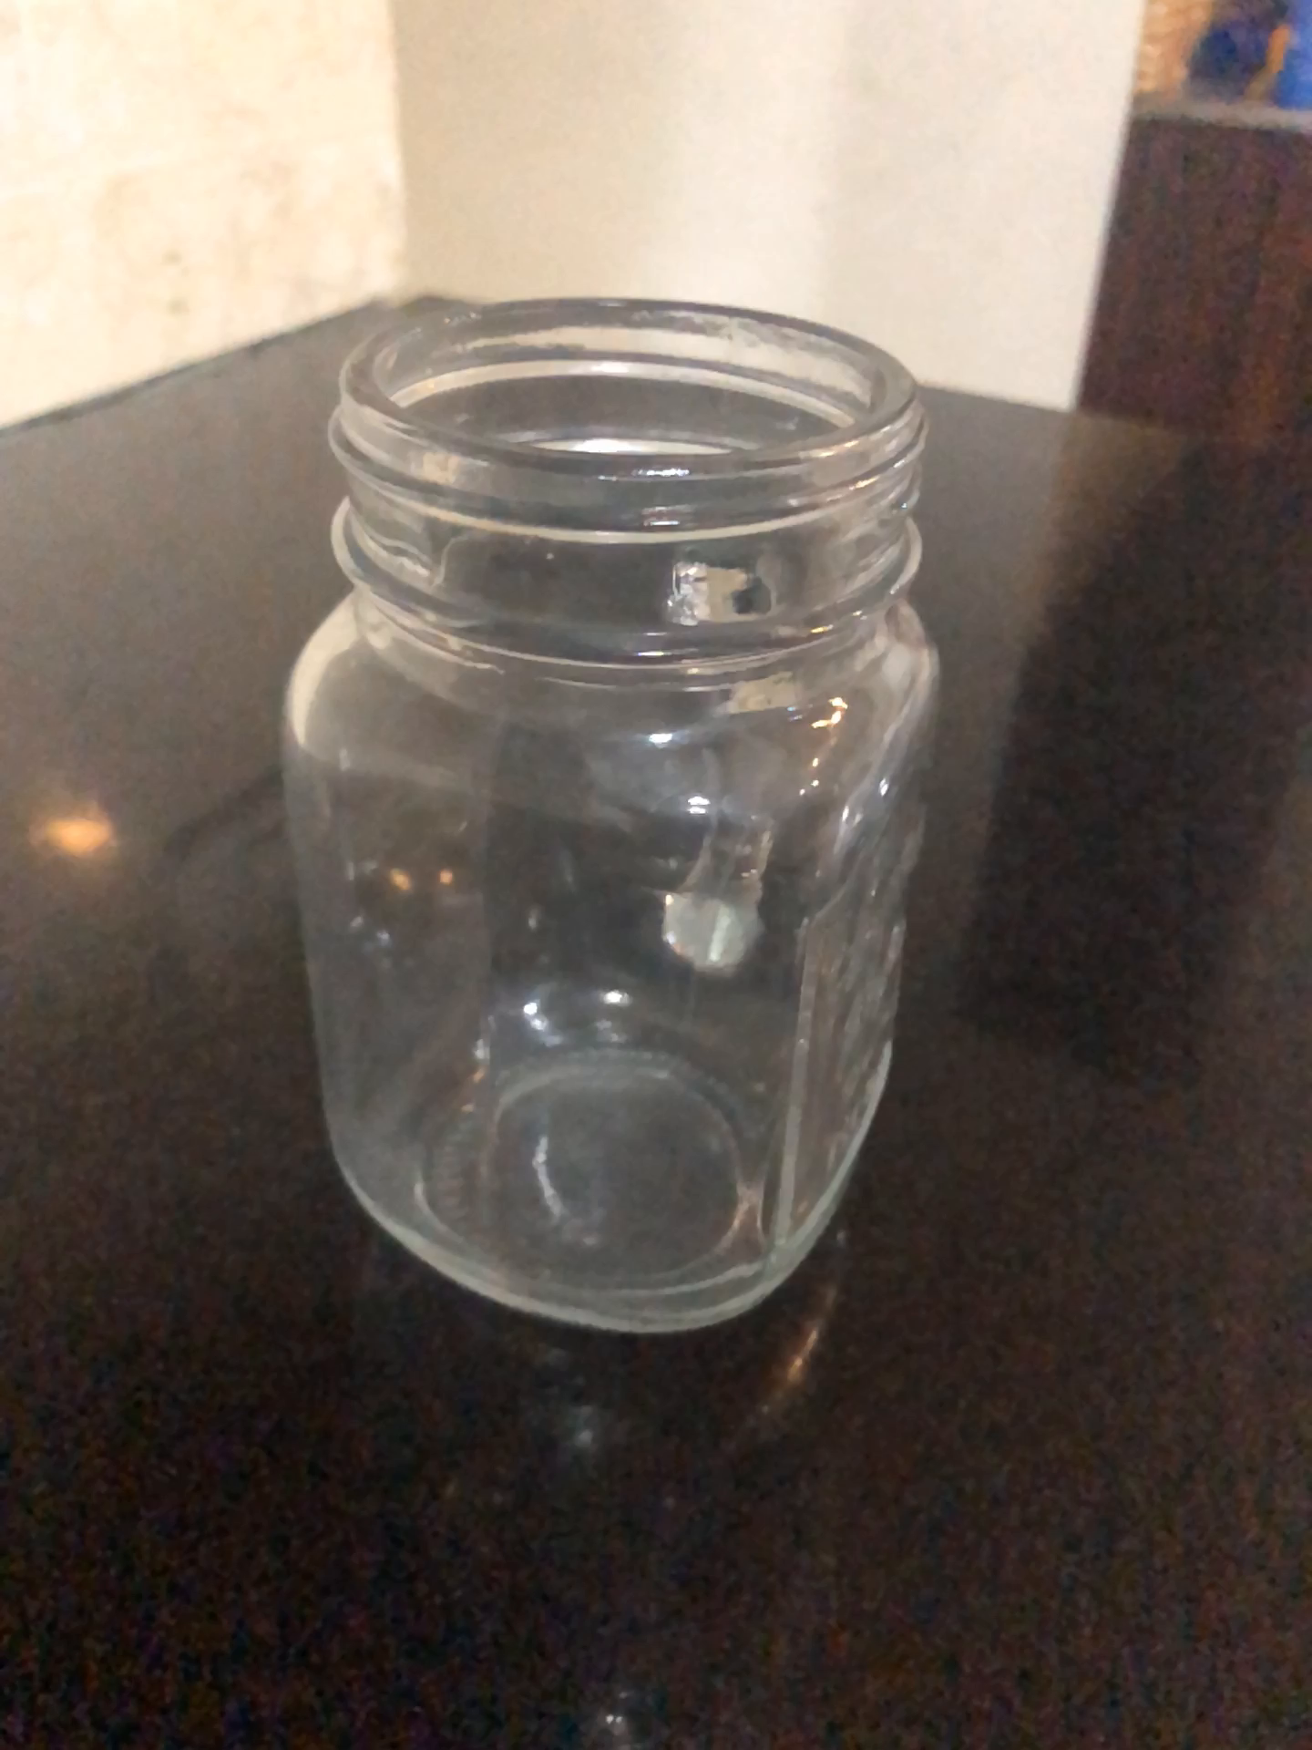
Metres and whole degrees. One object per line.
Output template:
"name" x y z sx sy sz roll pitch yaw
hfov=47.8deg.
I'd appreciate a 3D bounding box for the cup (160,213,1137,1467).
"cup" 0.007 -0.013 0.215 0.080 0.129 0.111 15 36 19
